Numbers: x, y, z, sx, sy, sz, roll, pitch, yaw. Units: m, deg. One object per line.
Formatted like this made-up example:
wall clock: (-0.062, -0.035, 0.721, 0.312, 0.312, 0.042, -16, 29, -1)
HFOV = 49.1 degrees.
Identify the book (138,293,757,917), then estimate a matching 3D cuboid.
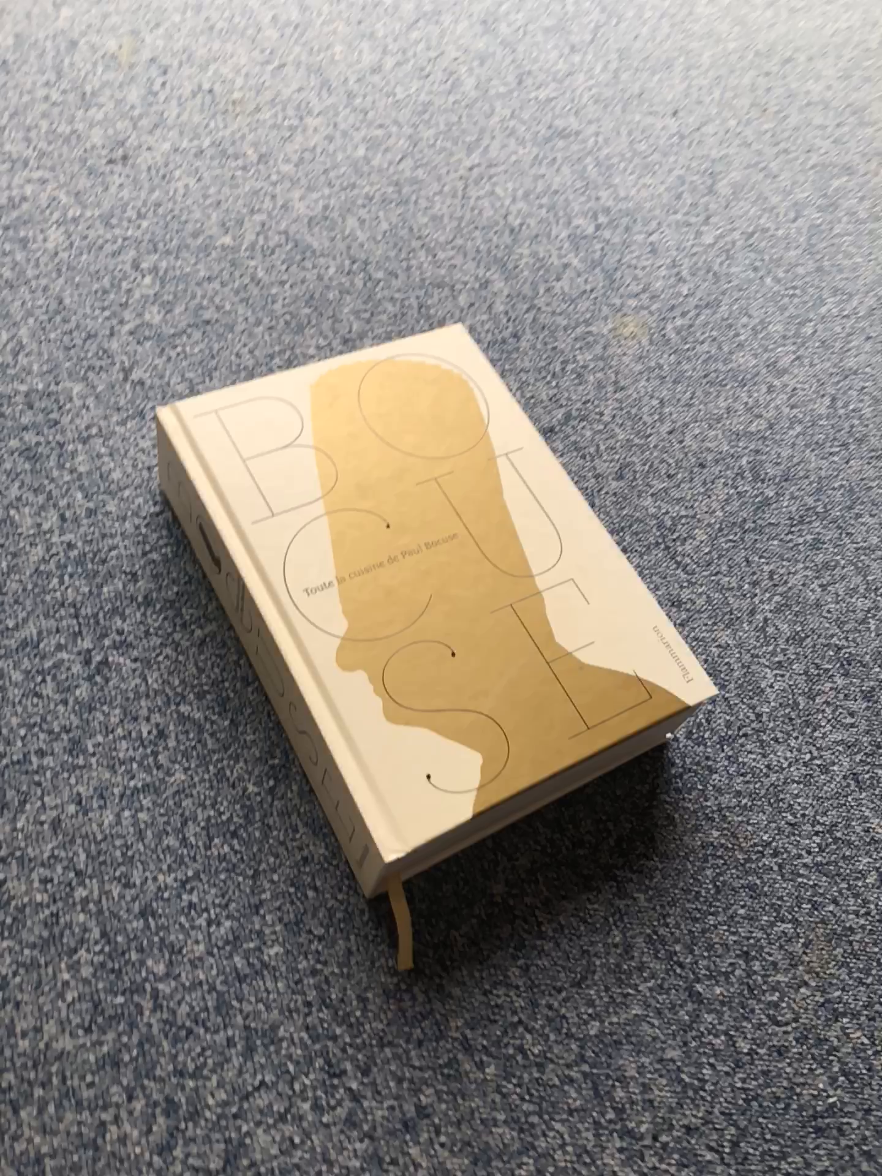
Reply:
book: (-0.009, -0.011, 0.510, 0.201, 0.080, 0.280, -21, 64, -23)
